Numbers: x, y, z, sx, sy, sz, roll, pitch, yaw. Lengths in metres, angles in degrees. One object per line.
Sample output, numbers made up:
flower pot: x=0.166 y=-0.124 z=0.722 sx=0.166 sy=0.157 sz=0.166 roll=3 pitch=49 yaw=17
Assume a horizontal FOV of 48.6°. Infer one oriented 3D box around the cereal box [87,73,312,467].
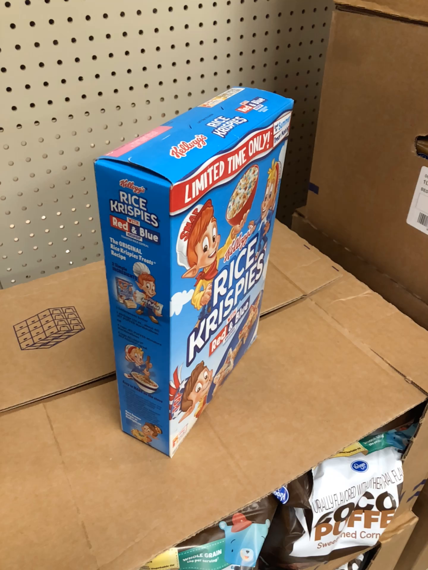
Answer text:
cereal box: x=-0.006 y=-0.009 z=0.412 sx=0.060 sy=0.279 sz=0.200 roll=23 pitch=42 yaw=20
